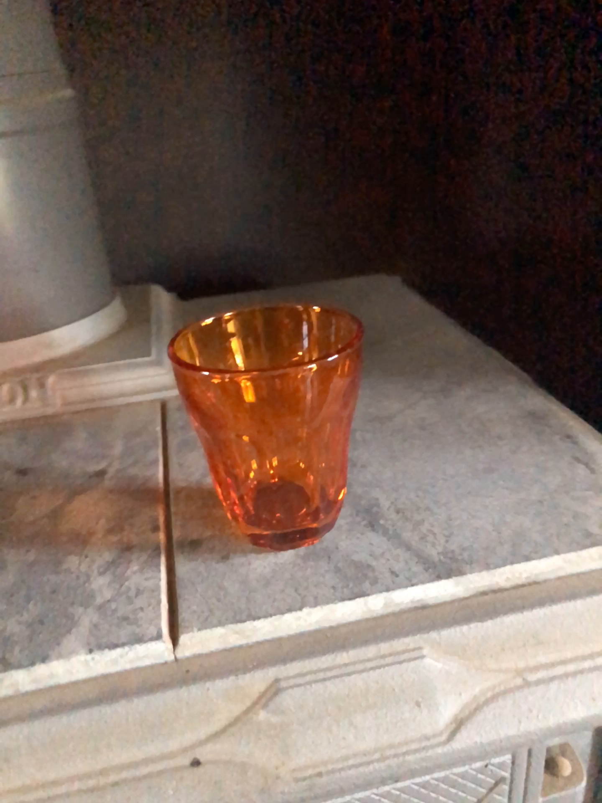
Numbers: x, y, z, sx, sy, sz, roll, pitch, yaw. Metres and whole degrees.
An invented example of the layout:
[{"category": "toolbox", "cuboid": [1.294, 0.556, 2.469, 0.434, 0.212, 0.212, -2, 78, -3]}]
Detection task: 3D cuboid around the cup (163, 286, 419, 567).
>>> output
[{"category": "cup", "cuboid": [-0.007, 0.004, 0.266, 0.080, 0.070, 0.080, -4, 26, 2]}]
